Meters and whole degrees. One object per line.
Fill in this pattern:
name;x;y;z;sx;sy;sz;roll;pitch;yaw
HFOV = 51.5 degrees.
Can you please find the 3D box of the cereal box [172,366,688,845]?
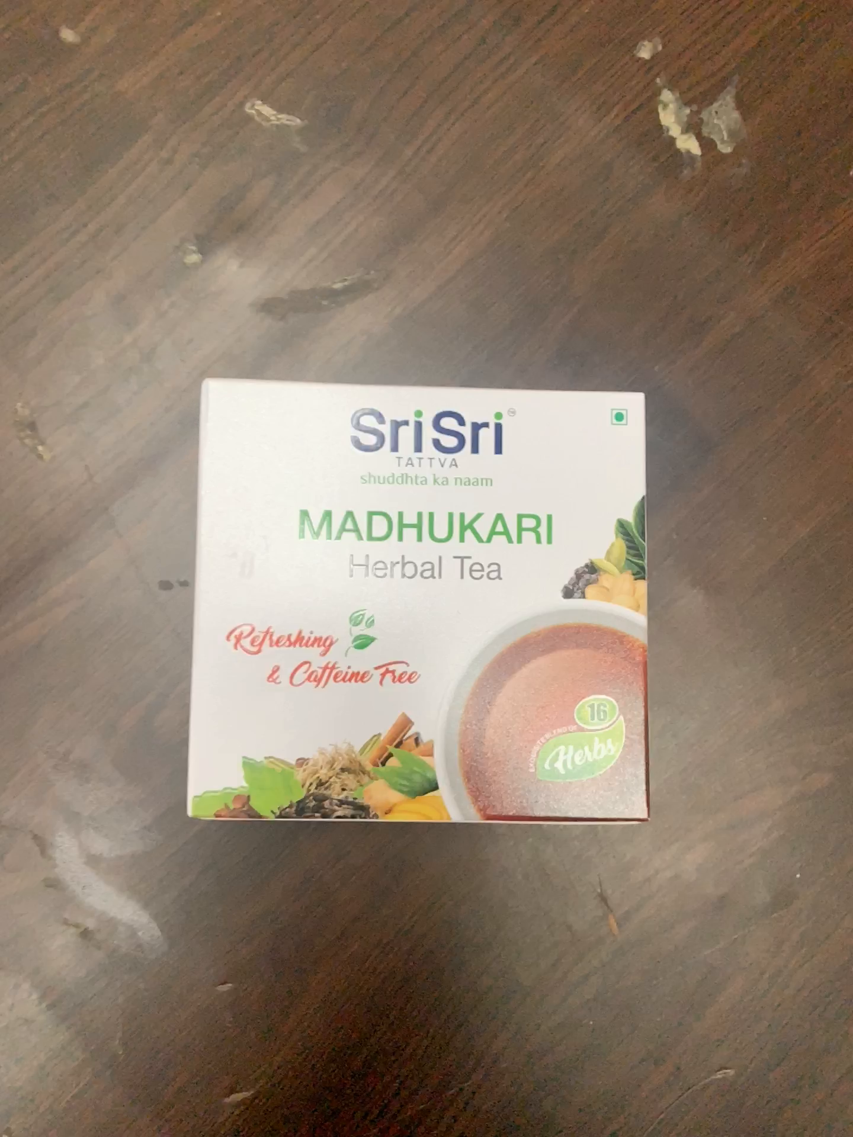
cereal box;0.002;0.010;0.247;0.130;0.040;0.120;1;88;-2
